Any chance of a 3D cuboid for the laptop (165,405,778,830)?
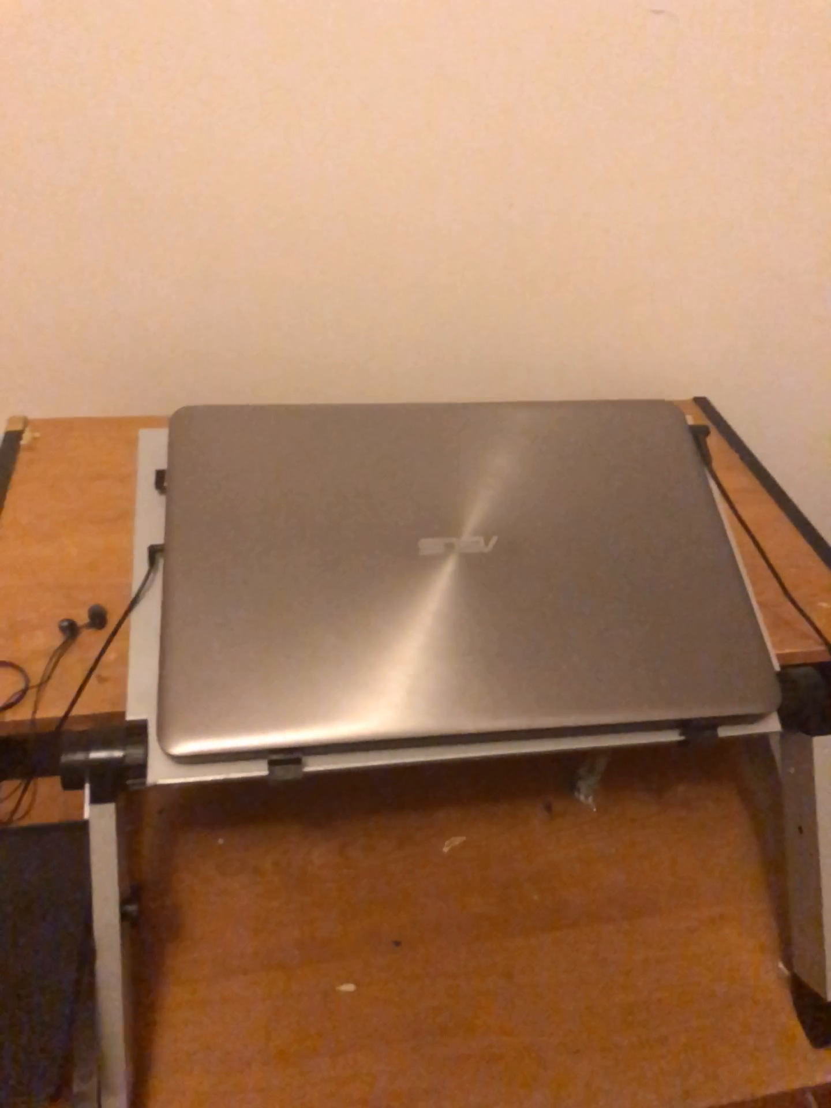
[{"bbox_3d":[0.023,0.027,0.617,0.362,0.071,0.250,-3,55,-8],"label":"laptop"}]
